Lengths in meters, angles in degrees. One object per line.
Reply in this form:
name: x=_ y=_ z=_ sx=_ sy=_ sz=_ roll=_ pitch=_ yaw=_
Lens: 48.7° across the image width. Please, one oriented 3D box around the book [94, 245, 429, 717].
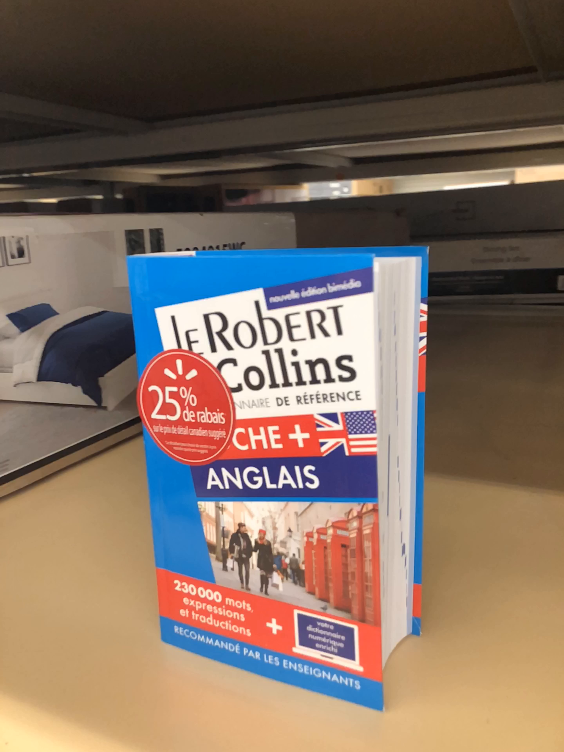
book: x=-0.005 y=0.035 z=0.269 sx=0.121 sy=0.173 sz=0.059 roll=4 pitch=16 yaw=26
